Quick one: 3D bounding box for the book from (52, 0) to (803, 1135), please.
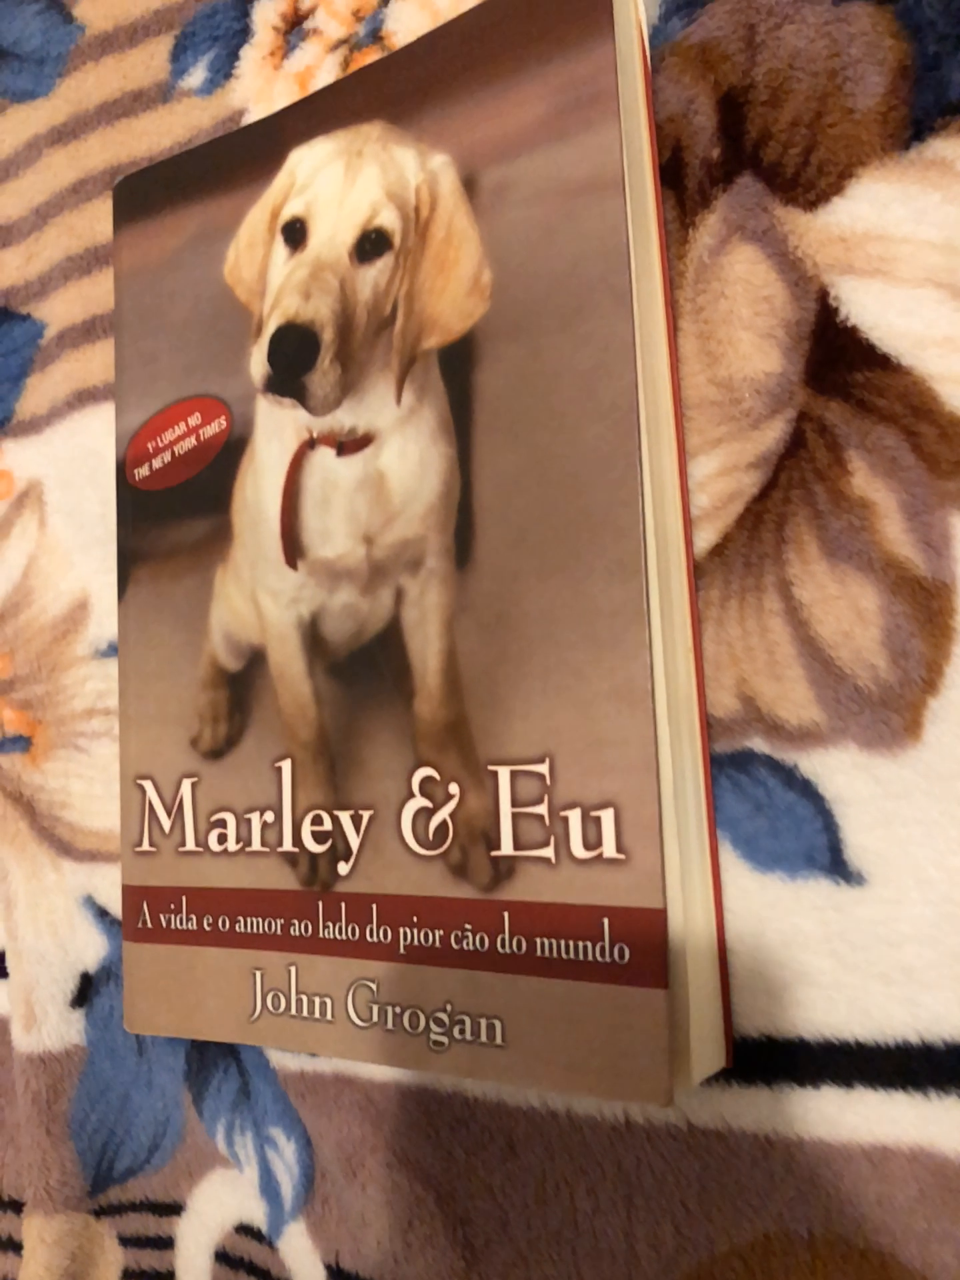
[{"bbox_3d":[-0.027,-0.023,0.247,0.171,0.040,0.230,-7,82,31],"label":"book"}]
